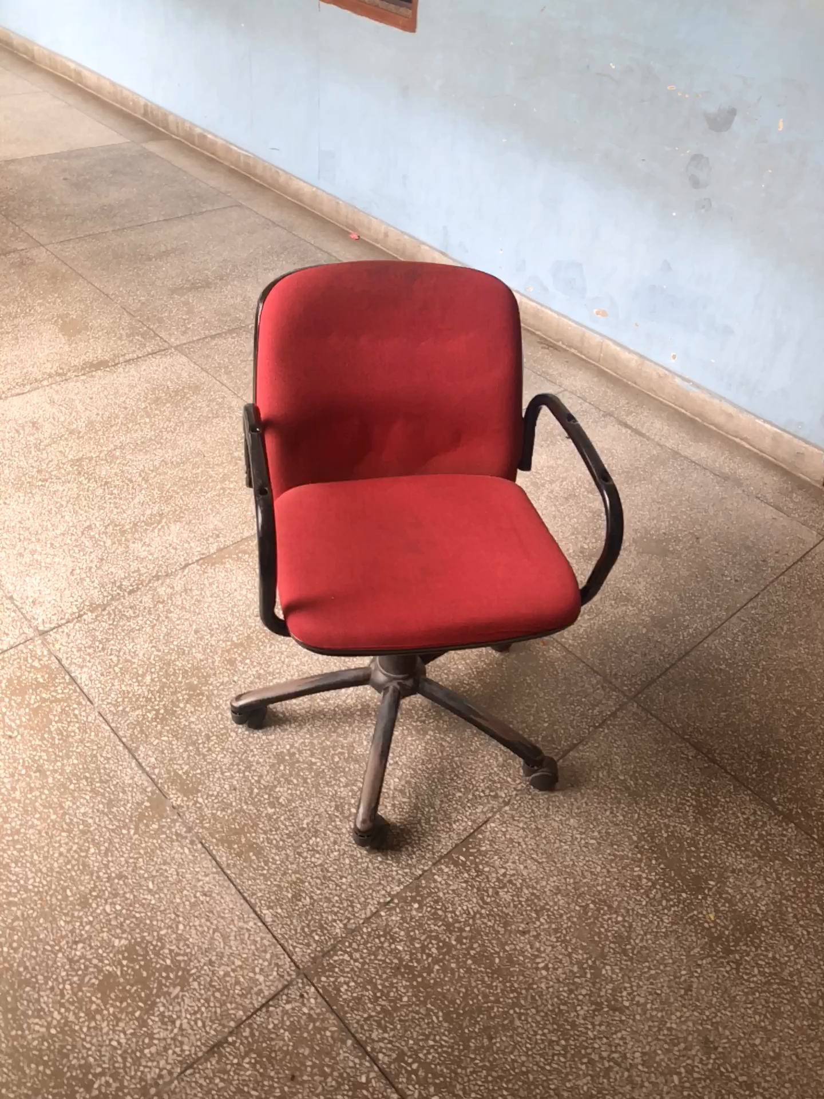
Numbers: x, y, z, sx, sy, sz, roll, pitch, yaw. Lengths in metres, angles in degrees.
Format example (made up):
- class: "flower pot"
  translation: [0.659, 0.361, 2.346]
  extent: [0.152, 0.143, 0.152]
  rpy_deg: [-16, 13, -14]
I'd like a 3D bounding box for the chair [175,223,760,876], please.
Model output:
- class: "chair"
  translation: [-0.006, -0.023, 1.508]
  extent: [0.650, 0.797, 0.642]
  rpy_deg: [-6, 41, -14]
